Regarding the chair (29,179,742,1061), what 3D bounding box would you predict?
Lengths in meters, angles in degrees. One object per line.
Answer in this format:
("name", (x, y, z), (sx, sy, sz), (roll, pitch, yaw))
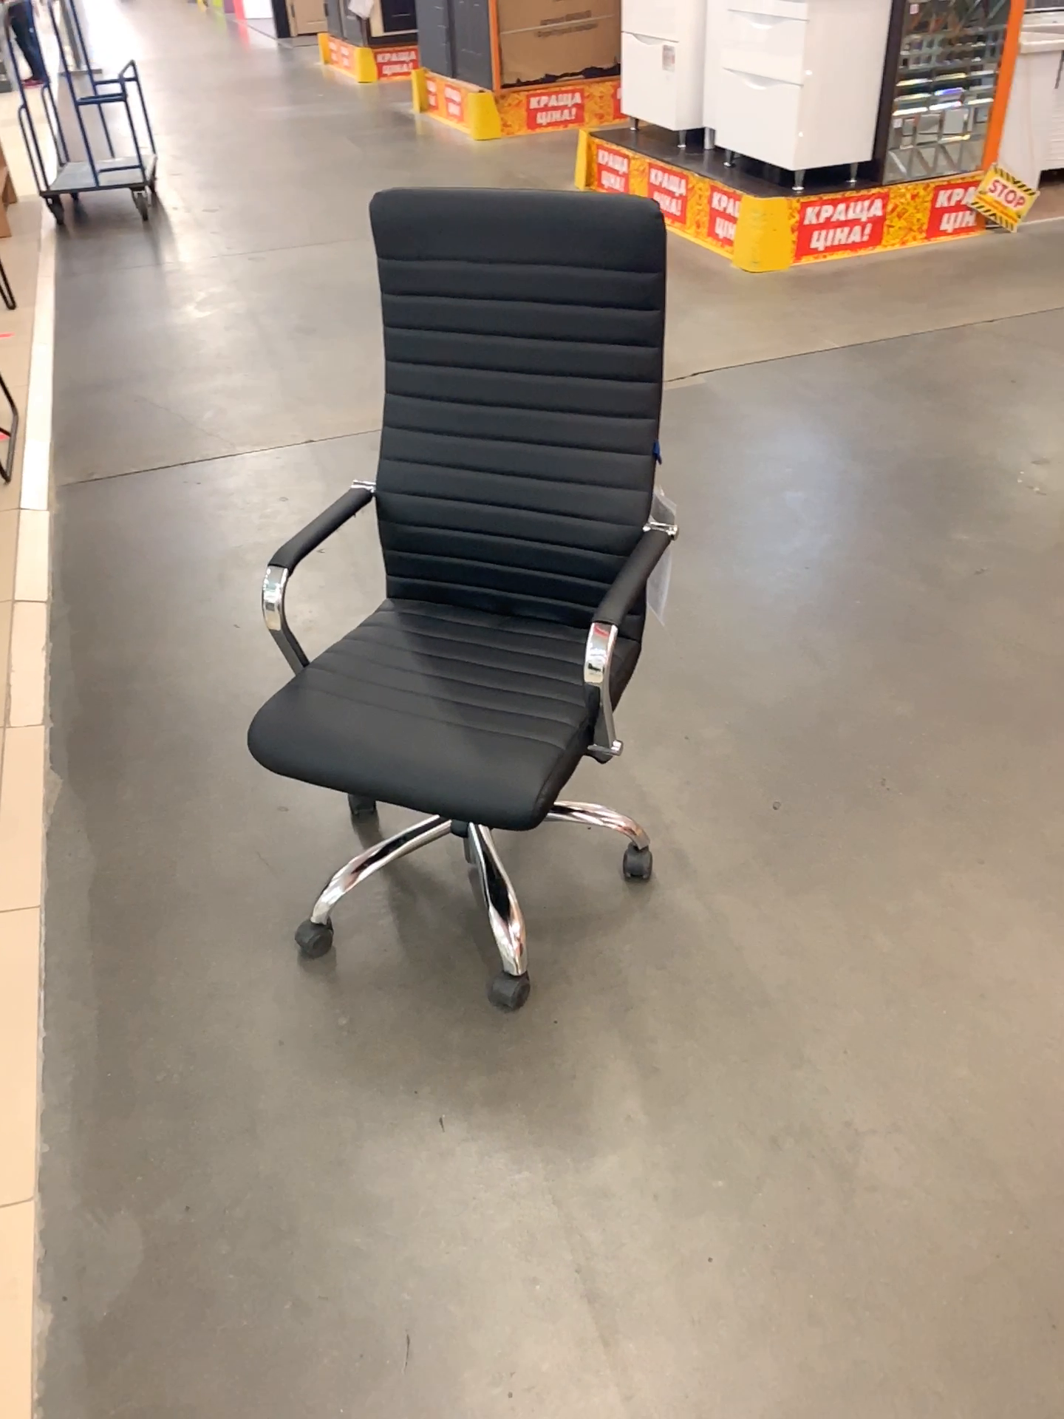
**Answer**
("chair", (-0.111, -0.159, 1.680), (0.651, 1.075, 0.683), (12, 38, 20))
